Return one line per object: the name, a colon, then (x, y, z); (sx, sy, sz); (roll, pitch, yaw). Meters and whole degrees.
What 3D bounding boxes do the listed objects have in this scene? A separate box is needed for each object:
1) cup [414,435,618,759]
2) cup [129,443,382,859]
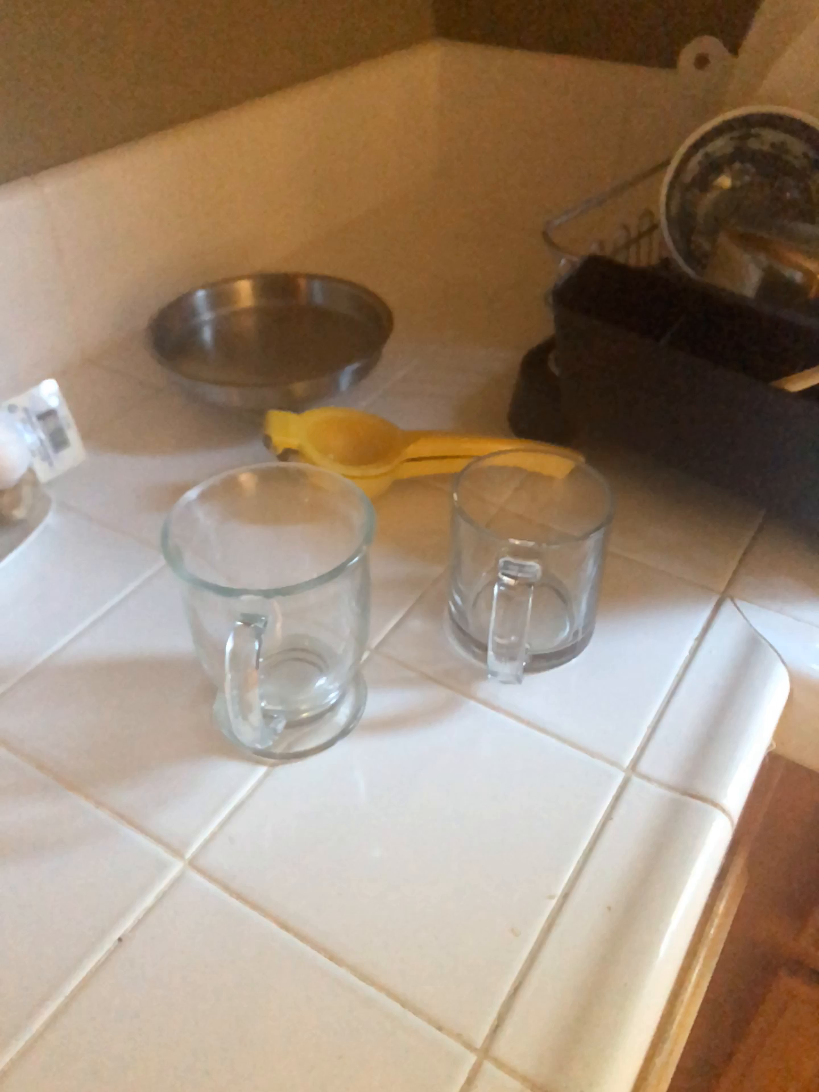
cup: (0.057, 0.024, 0.486); (0.090, 0.109, 0.121); (7, 40, 8)
cup: (-0.063, 0.048, 0.432); (0.090, 0.139, 0.131); (-3, 40, -3)
